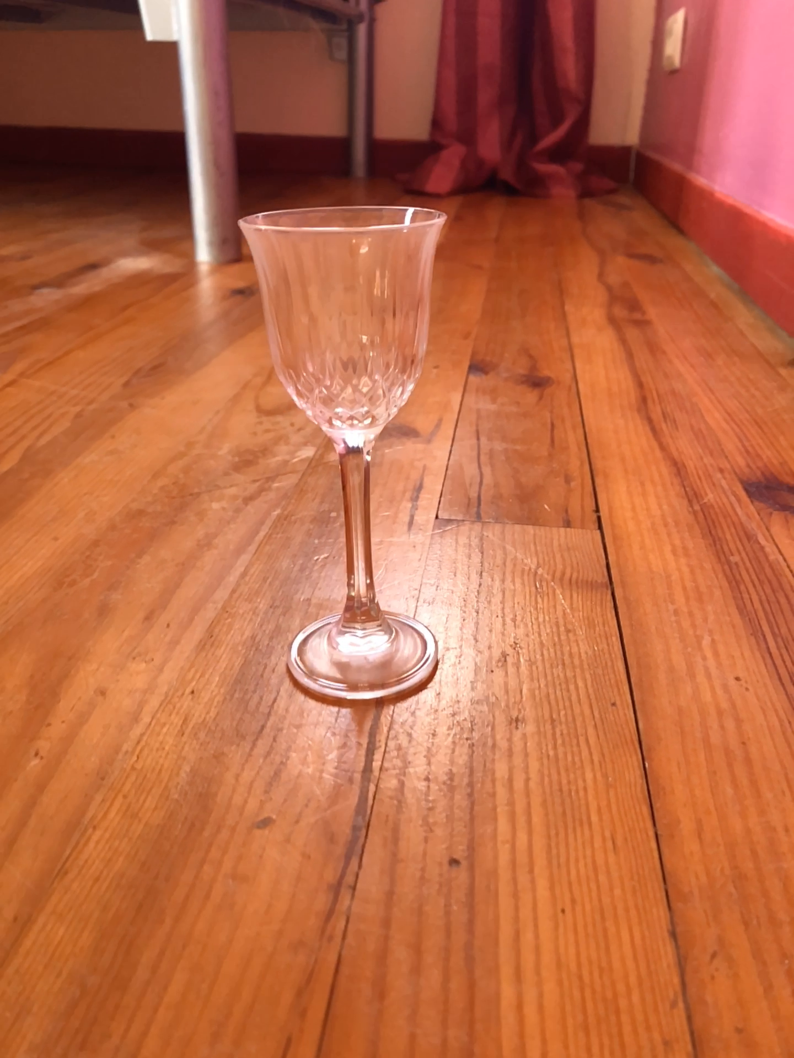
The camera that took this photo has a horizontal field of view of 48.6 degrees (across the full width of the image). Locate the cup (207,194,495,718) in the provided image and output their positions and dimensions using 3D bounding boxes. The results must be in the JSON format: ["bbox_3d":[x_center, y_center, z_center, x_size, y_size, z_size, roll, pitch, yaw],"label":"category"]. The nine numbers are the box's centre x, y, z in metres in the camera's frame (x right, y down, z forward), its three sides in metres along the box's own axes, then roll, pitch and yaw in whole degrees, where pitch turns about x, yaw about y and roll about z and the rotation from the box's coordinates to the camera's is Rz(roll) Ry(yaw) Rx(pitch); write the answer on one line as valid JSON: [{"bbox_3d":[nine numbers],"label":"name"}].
[{"bbox_3d":[-0.013,-0.024,0.258,0.058,0.133,0.061,-1,25,1],"label":"cup"}]
